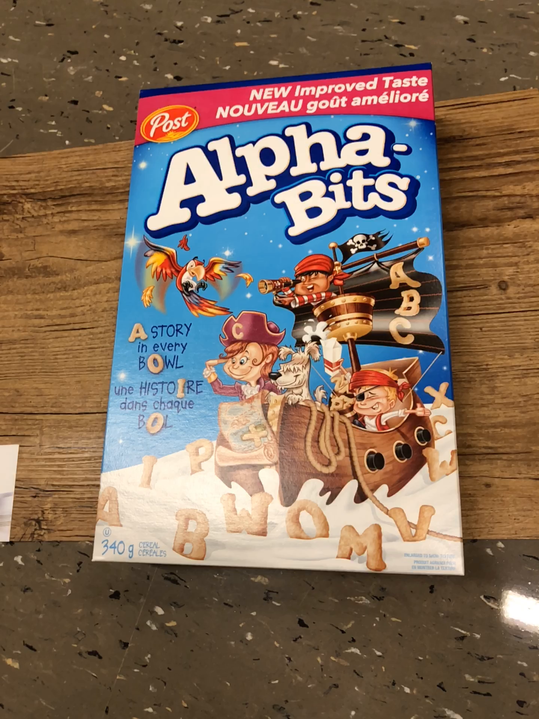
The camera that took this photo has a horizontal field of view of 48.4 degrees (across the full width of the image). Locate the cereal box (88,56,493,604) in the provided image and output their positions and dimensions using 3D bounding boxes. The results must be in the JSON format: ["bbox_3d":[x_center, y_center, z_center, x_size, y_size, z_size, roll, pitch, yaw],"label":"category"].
[{"bbox_3d":[0.014,-0.025,0.366,0.200,0.060,0.310,-1,73,10],"label":"cereal box"}]
